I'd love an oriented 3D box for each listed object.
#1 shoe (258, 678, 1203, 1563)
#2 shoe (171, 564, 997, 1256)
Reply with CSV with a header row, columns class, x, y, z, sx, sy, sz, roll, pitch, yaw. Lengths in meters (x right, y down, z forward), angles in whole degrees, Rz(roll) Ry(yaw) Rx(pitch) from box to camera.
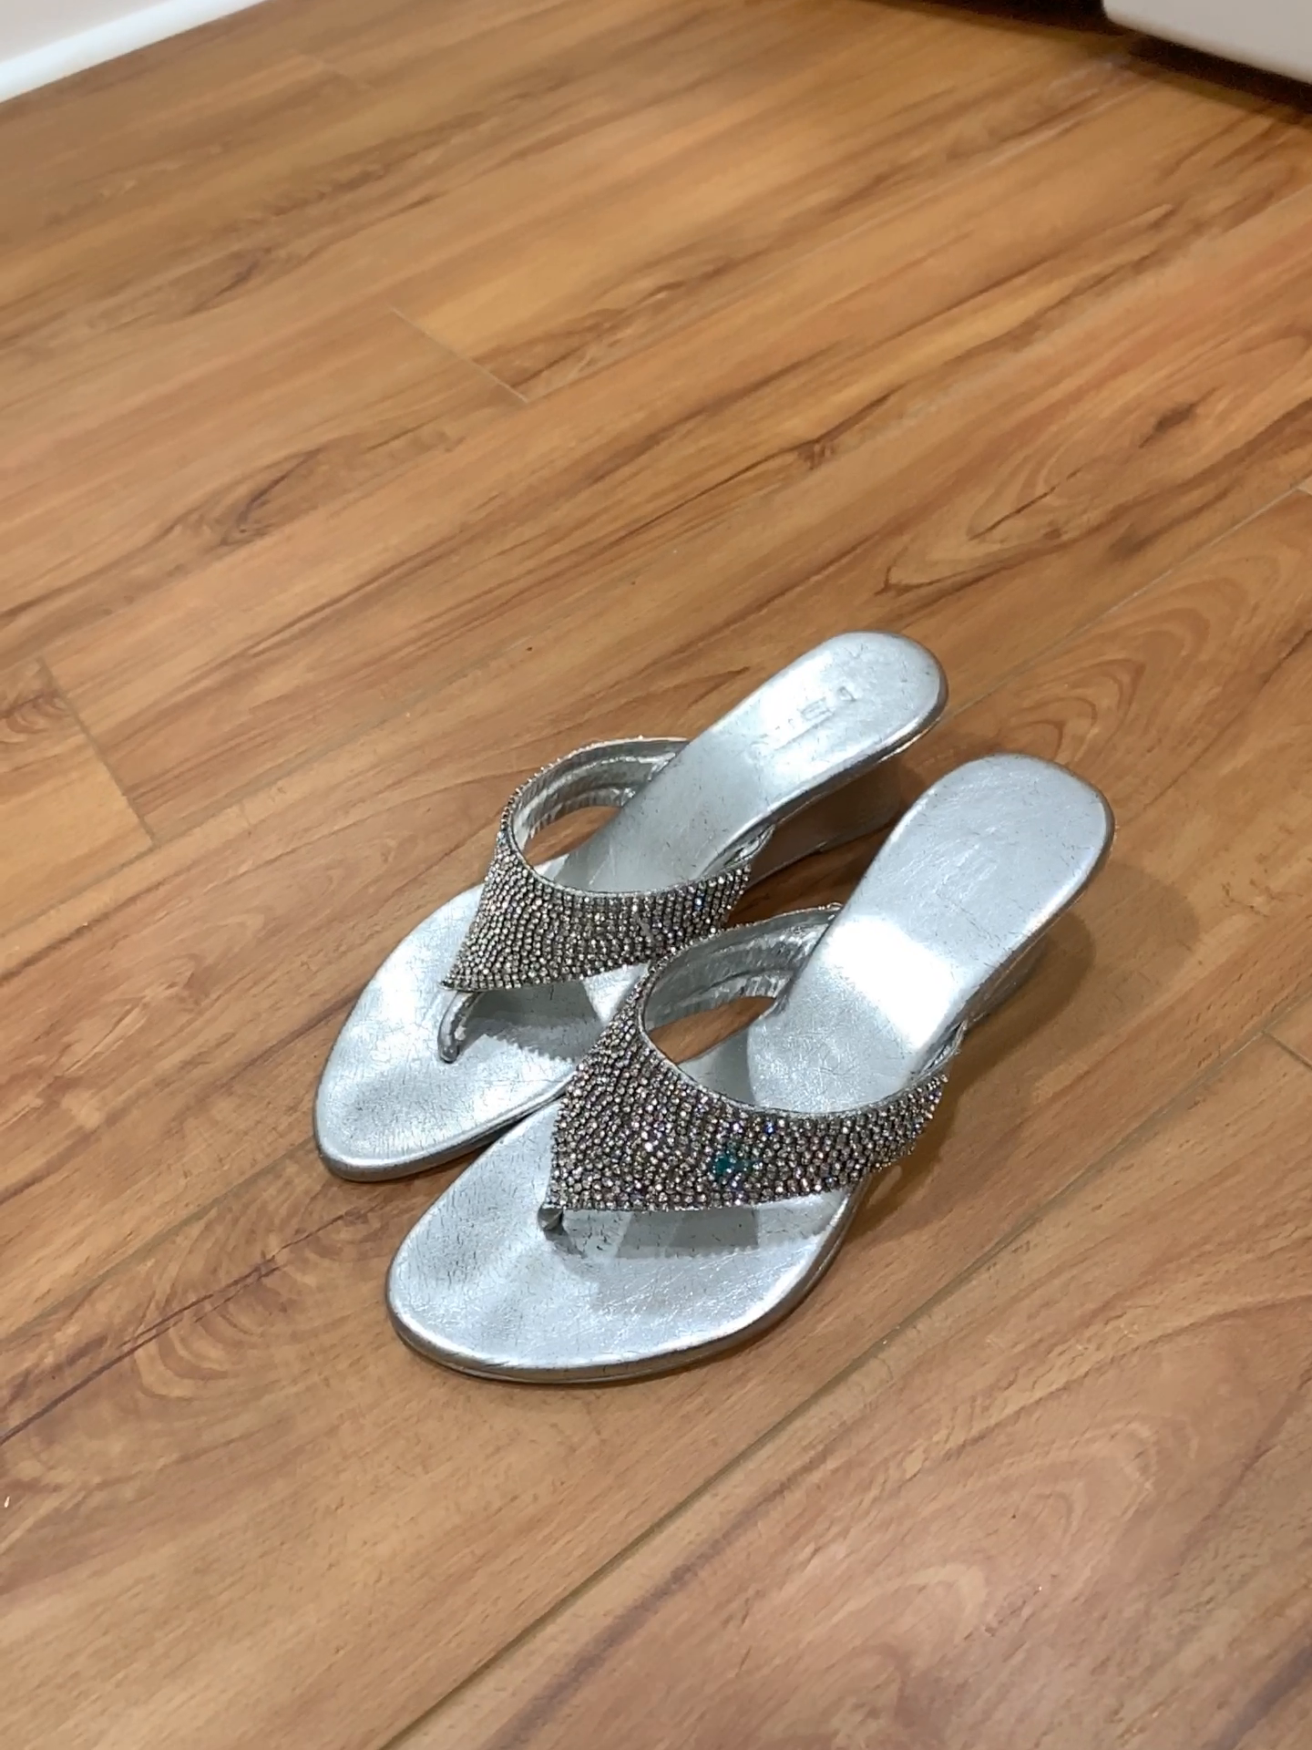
class,x,y,z,sx,sy,sz,roll,pitch,yaw
shoe,0.027,0.053,0.362,0.228,0.073,0.096,-35,52,-18
shoe,-0.014,0.003,0.412,0.228,0.073,0.086,-31,50,-15
